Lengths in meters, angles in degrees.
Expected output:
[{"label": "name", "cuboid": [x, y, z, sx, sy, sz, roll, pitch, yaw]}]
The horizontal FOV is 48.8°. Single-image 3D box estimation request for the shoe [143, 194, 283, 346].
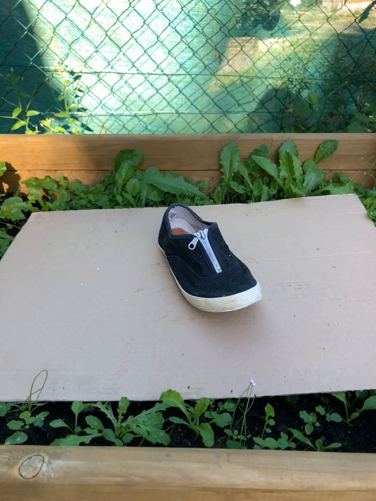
[{"label": "shoe", "cuboid": [0.024, 0.013, 0.607, 0.100, 0.070, 0.241, -16, 40, -18]}]
